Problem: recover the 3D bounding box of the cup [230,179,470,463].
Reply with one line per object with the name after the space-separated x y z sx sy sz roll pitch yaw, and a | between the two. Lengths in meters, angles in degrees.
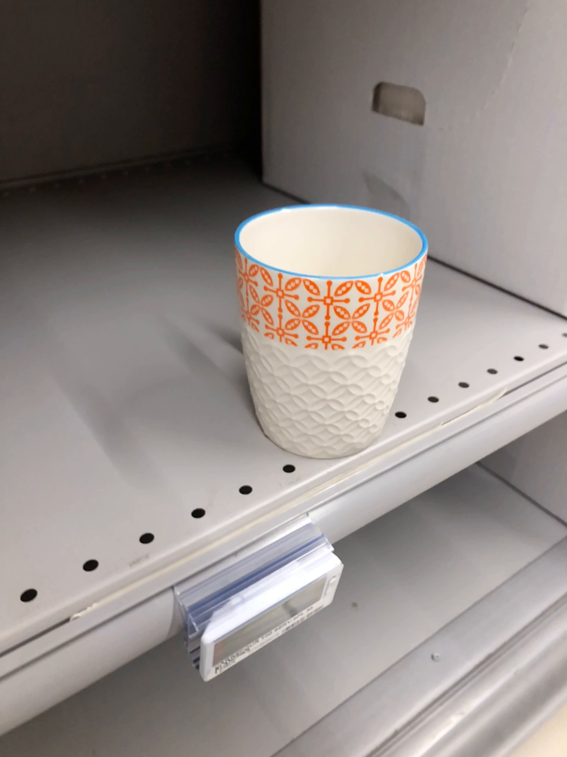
0.022 -0.035 0.320 0.091 0.095 0.118 -2 34 -5 | cup
